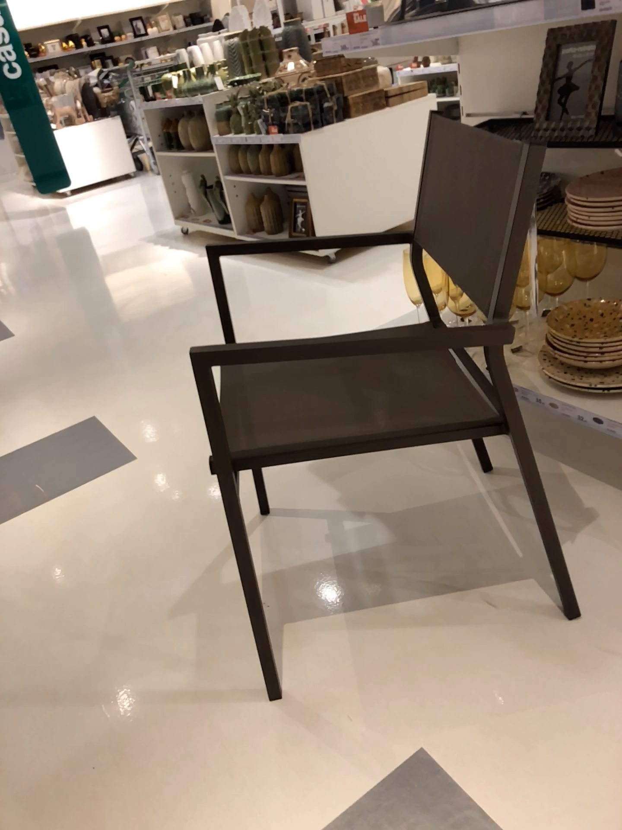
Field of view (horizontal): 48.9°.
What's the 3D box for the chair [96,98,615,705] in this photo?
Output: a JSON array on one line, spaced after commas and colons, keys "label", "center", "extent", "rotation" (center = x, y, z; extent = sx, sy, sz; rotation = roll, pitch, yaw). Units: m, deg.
[{"label": "chair", "center": [0.098, -0.053, 1.180], "extent": [0.580, 0.764, 0.574], "rotation": [-12, 28, 1]}]
